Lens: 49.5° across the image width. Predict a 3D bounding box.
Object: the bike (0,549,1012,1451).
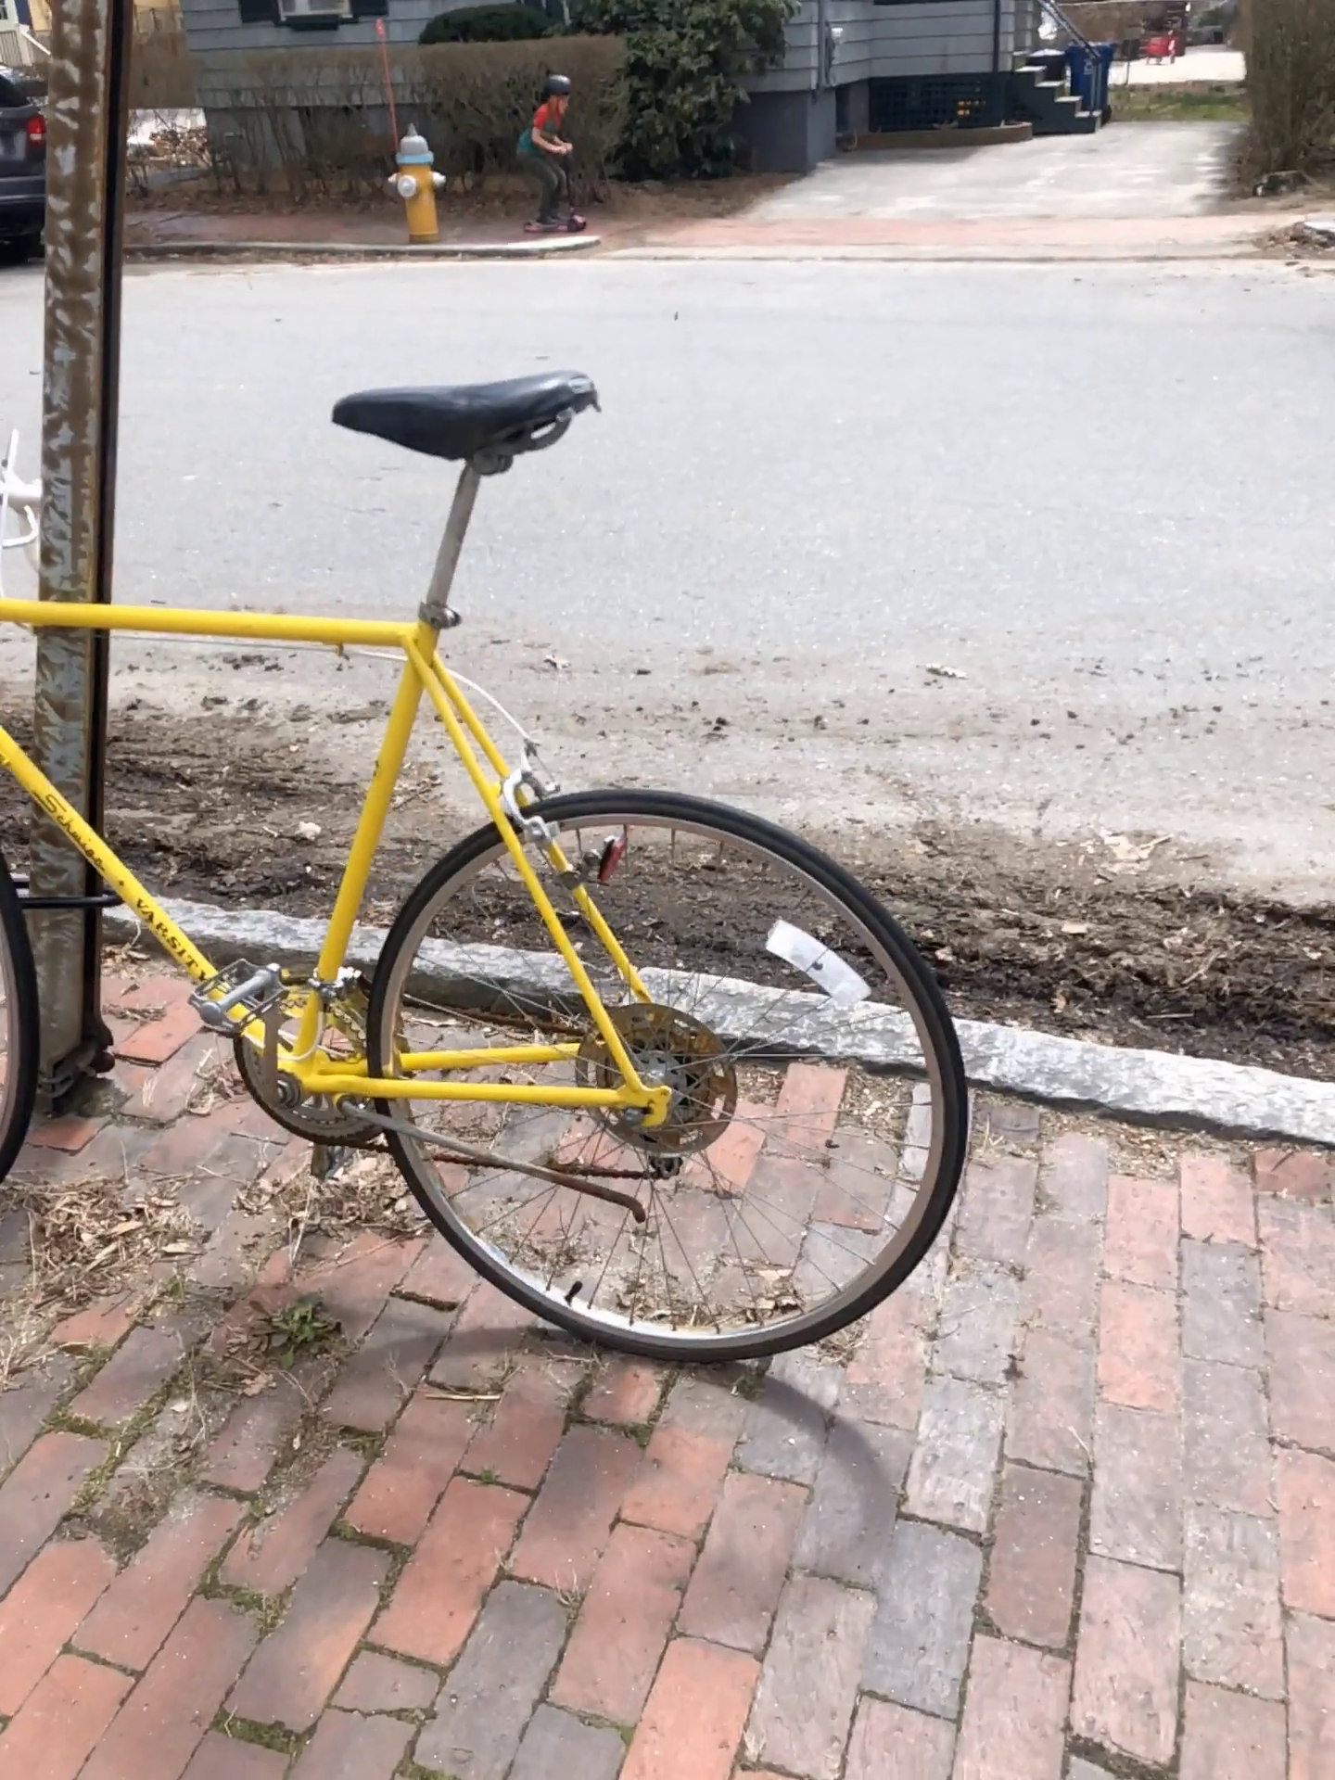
[{"bbox_3d":[-0.464,0.042,1.870,1.685,0.804,0.542,5,30,21],"label":"bike"}]
